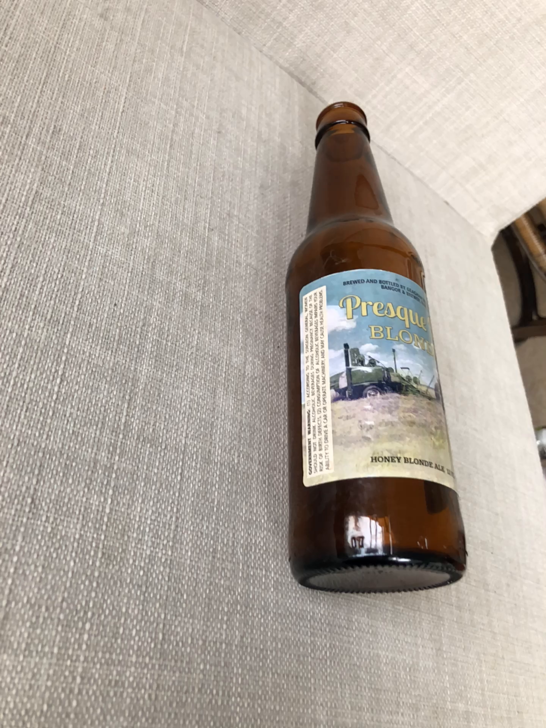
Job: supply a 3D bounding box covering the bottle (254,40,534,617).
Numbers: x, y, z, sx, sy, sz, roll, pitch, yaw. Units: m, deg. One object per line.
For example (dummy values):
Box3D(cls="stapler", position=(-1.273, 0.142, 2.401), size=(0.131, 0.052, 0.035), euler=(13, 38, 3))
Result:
Box3D(cls="bottle", position=(0.039, -0.024, 0.253), size=(0.066, 0.059, 0.231), euler=(16, 57, -25))
